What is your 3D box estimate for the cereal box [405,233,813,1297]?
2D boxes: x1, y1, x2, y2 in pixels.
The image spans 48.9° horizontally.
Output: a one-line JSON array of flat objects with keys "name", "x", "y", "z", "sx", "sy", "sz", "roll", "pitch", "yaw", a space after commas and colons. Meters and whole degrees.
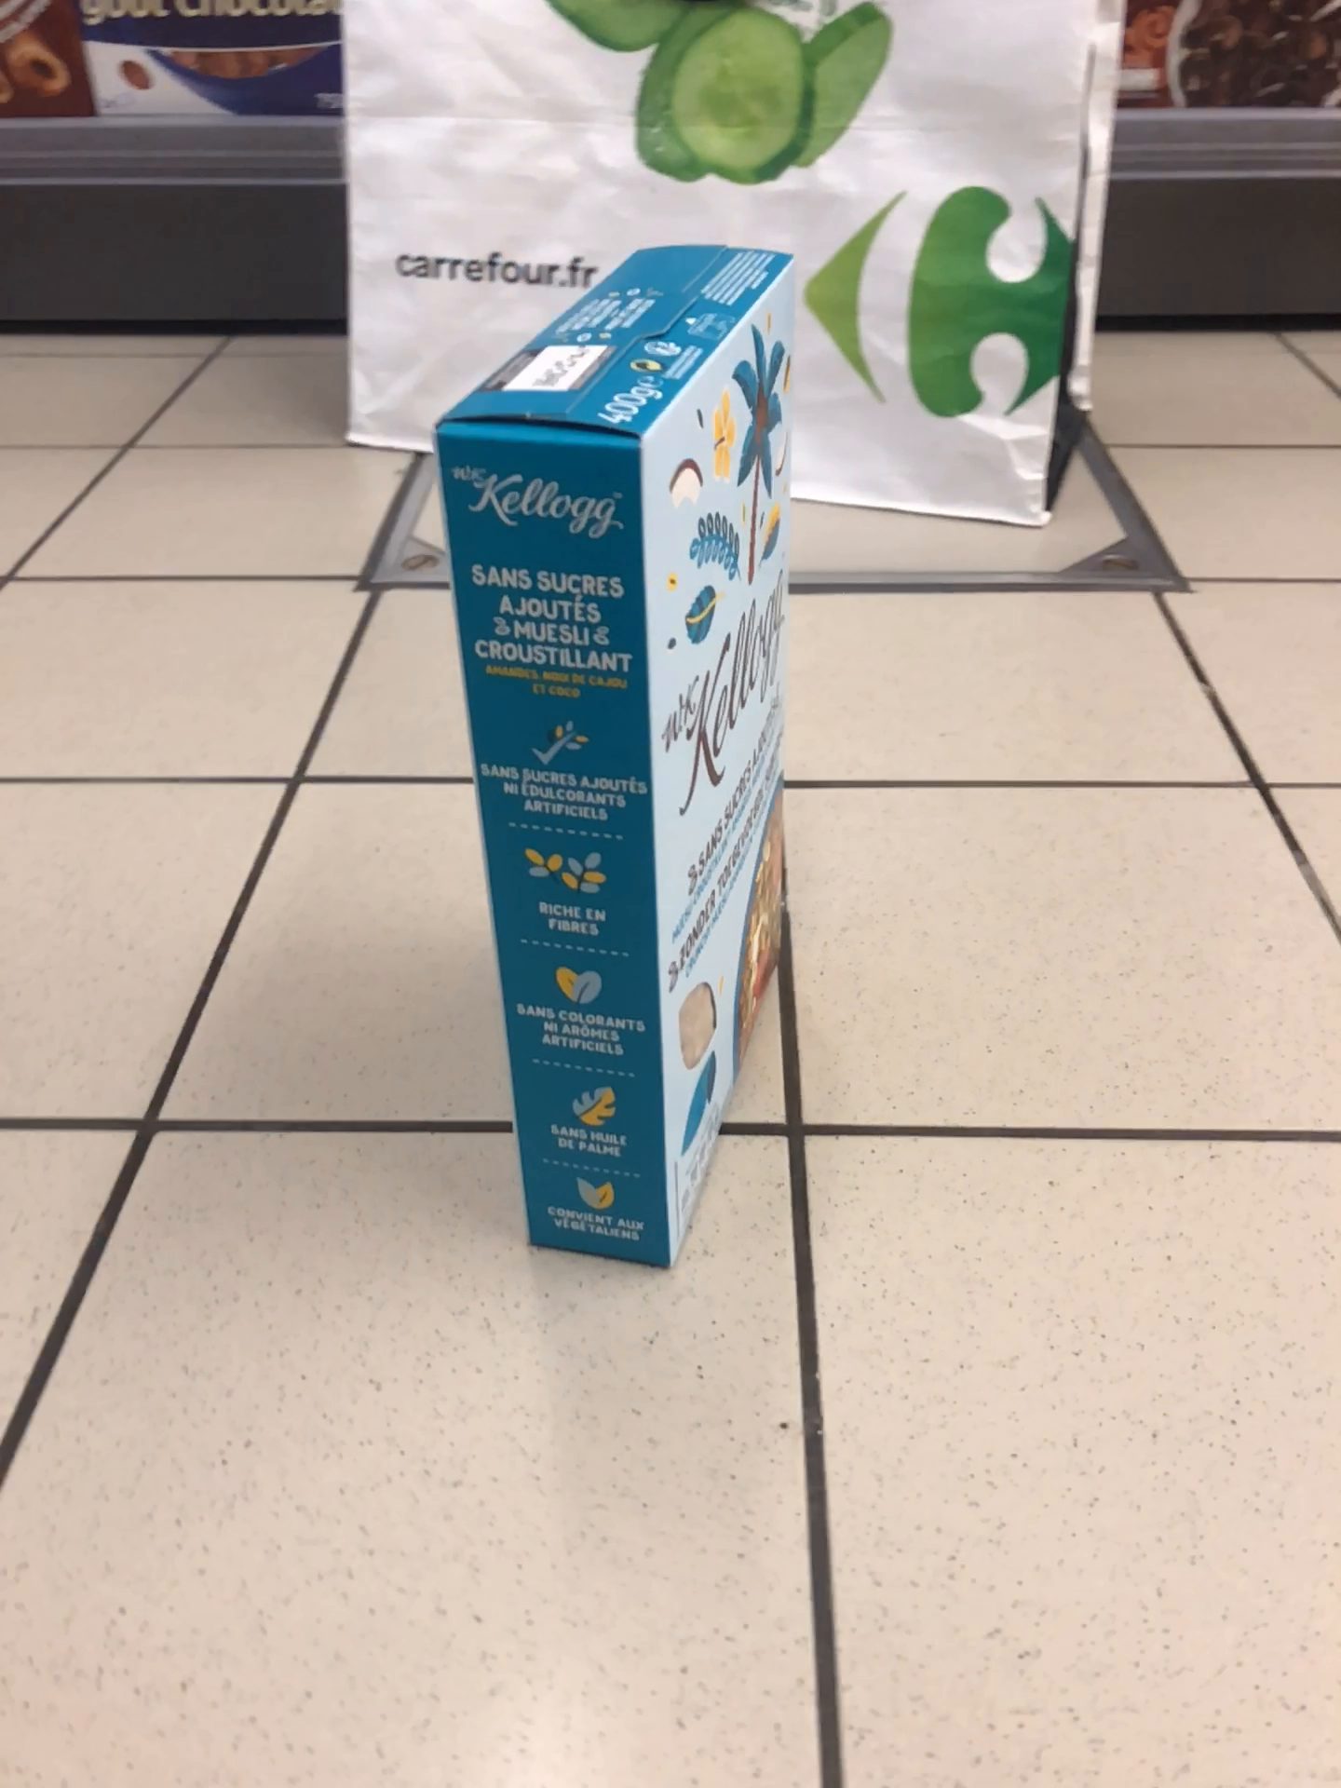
[{"name": "cereal box", "x": -0.005, "y": -0.035, "z": 0.405, "sx": 0.050, "sy": 0.239, "sz": 0.161, "roll": 8, "pitch": 36, "yaw": 12}]
